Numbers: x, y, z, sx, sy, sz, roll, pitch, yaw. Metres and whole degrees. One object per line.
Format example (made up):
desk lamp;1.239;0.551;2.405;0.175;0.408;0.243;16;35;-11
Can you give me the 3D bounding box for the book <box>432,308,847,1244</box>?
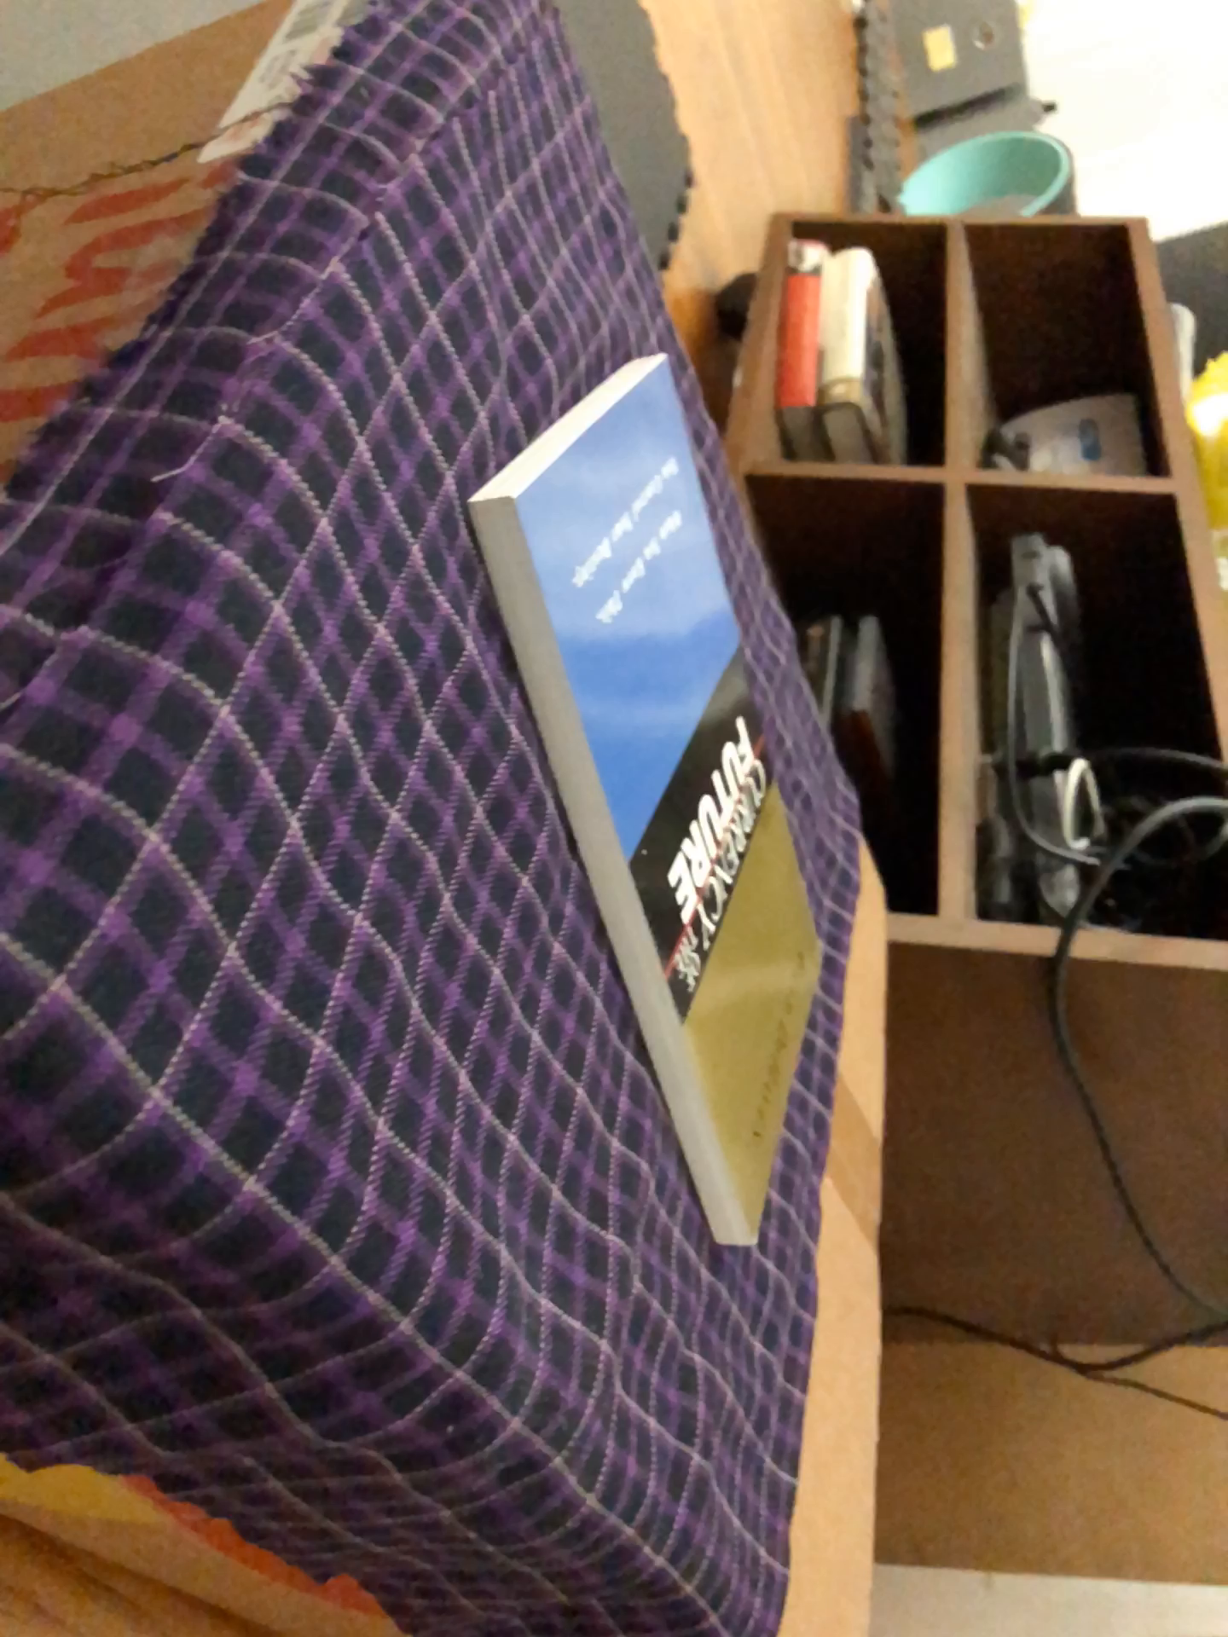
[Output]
book;0.023;-0.016;0.386;0.151;0.020;0.220;-62;139;-56
